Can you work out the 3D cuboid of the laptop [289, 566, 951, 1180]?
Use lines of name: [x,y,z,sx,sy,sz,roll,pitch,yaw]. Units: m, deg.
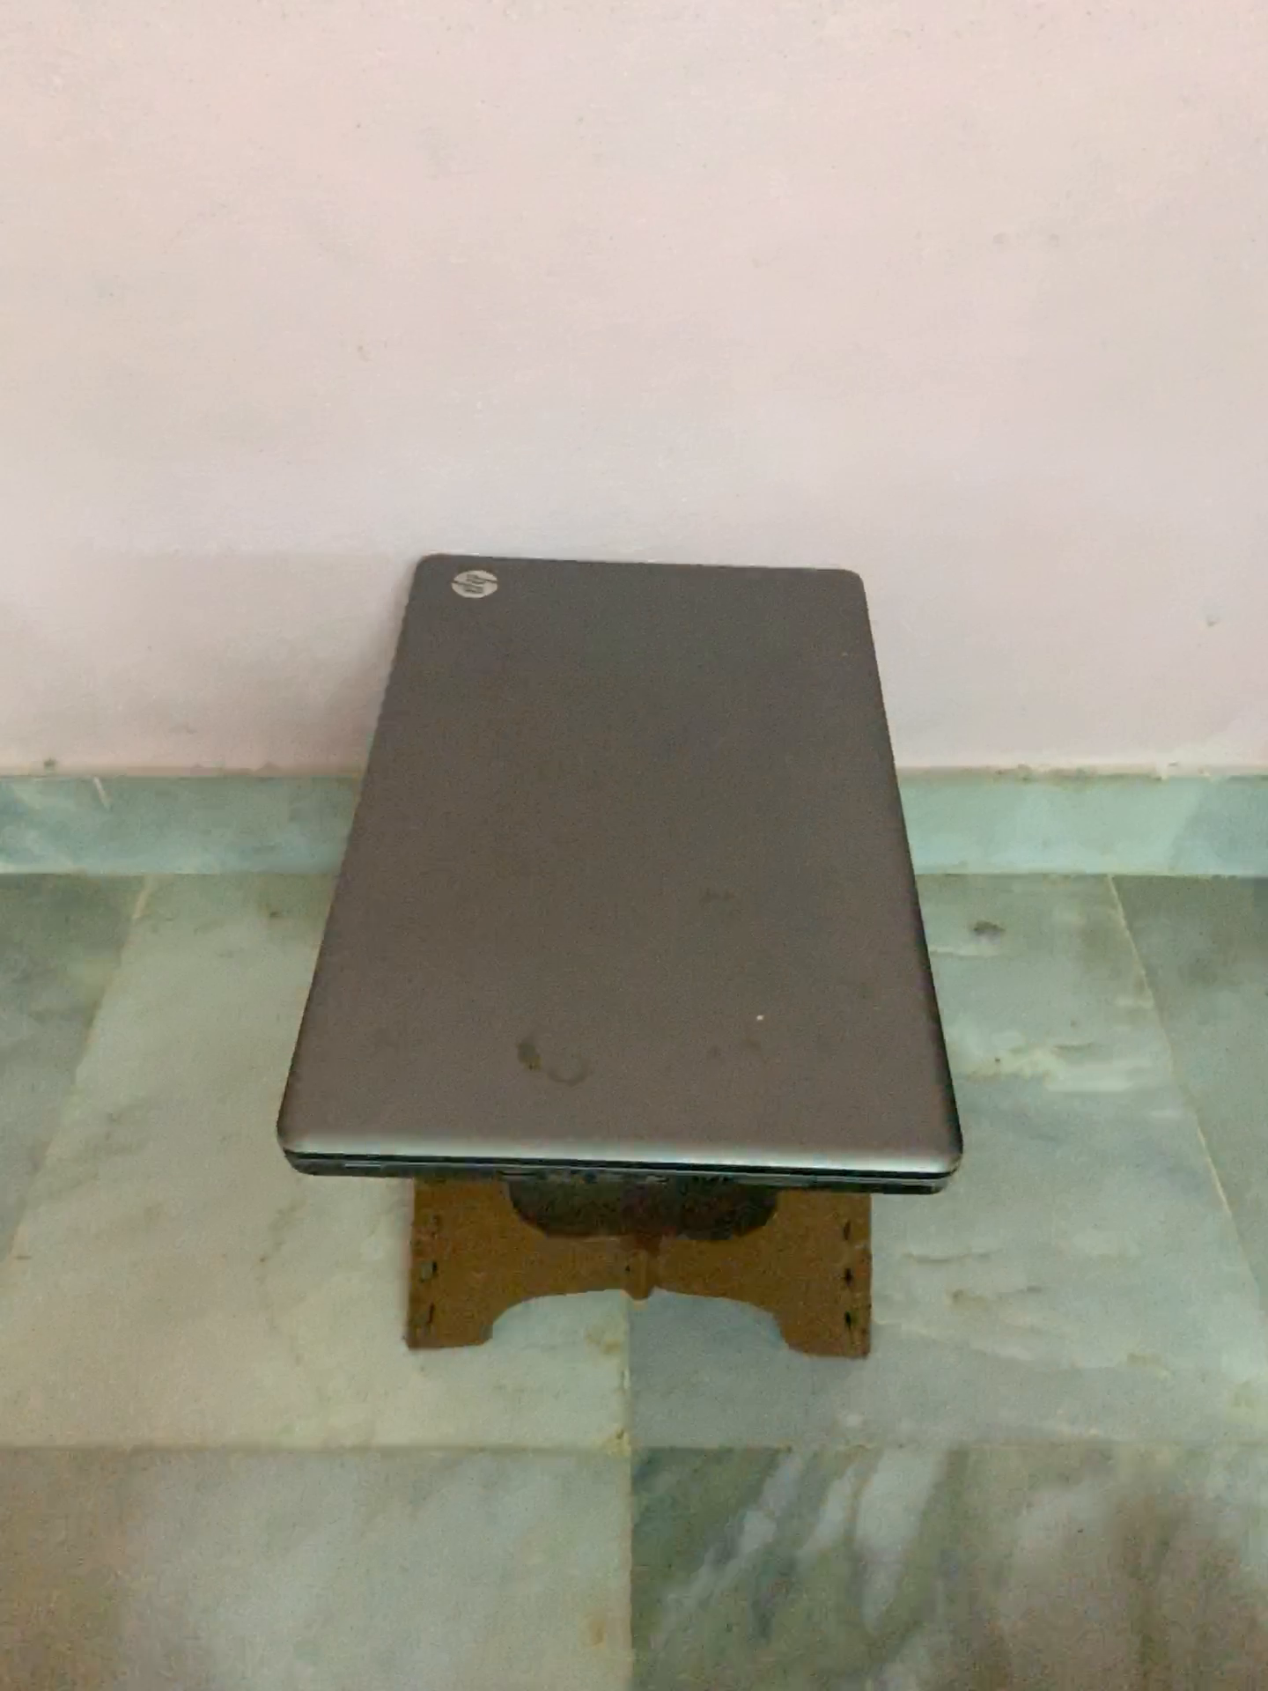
laptop: [0.000,-0.018,0.606,0.242,0.003,0.380,2,46,0]
